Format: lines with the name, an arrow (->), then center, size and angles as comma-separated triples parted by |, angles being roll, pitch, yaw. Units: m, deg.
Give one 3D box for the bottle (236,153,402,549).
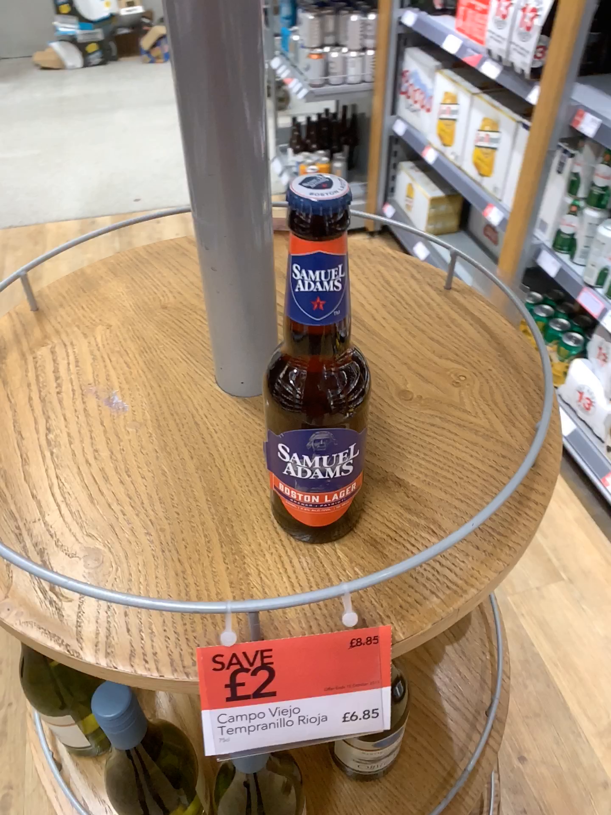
bottle -> 0.004, -0.014, 0.328 | 0.062, 0.211, 0.061 | 0, 43, 0
